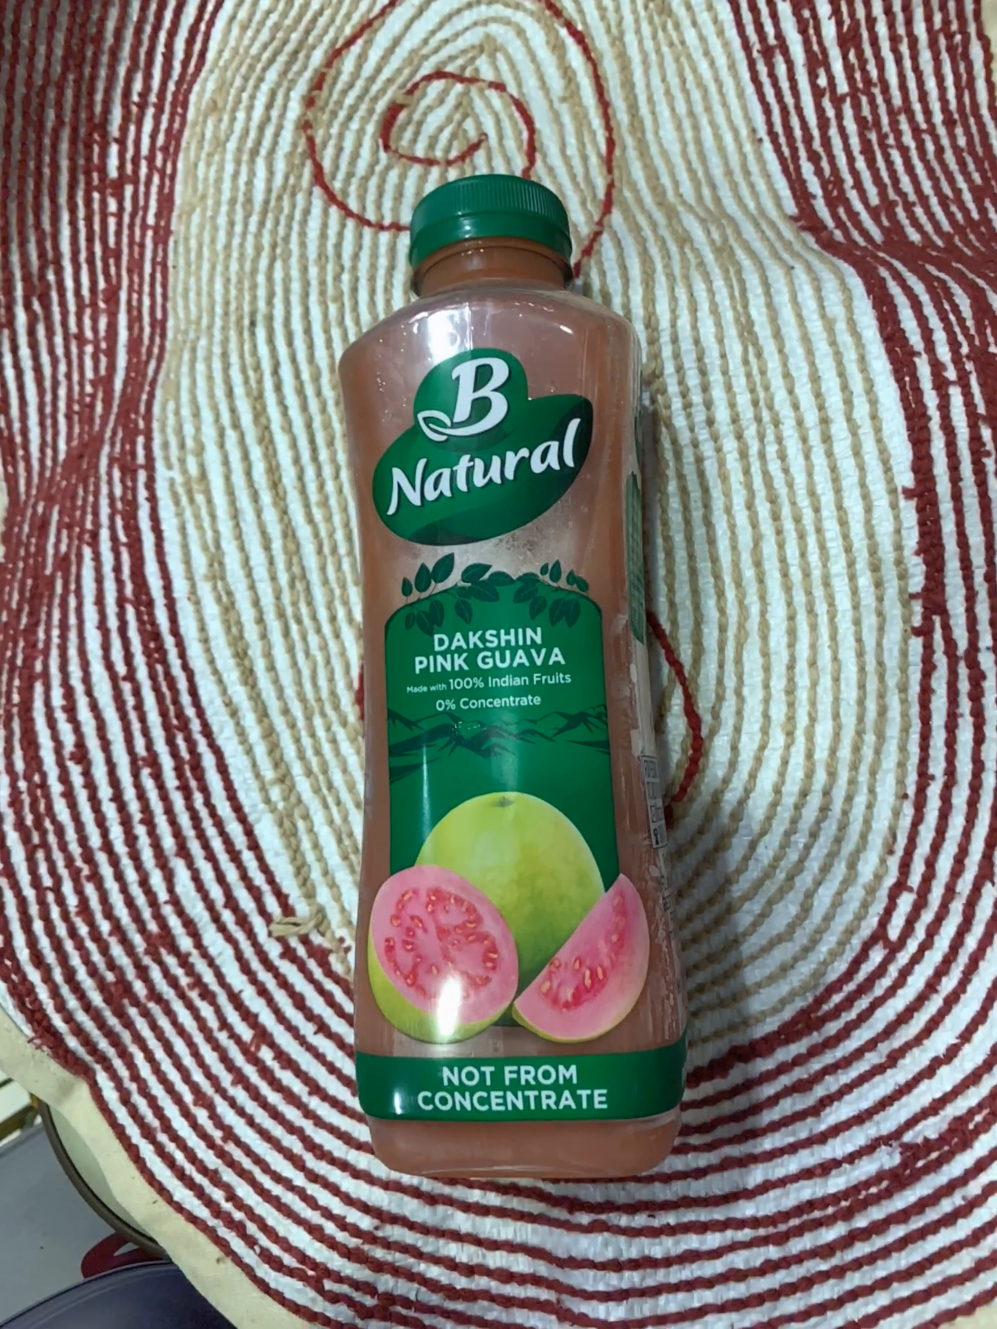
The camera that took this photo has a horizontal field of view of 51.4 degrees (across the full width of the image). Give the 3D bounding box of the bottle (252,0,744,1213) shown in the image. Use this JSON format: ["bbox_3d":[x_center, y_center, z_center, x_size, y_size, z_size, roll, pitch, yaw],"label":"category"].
[{"bbox_3d":[0.000,-0.014,0.209,0.080,0.060,0.210,-3,82,9],"label":"bottle"}]
